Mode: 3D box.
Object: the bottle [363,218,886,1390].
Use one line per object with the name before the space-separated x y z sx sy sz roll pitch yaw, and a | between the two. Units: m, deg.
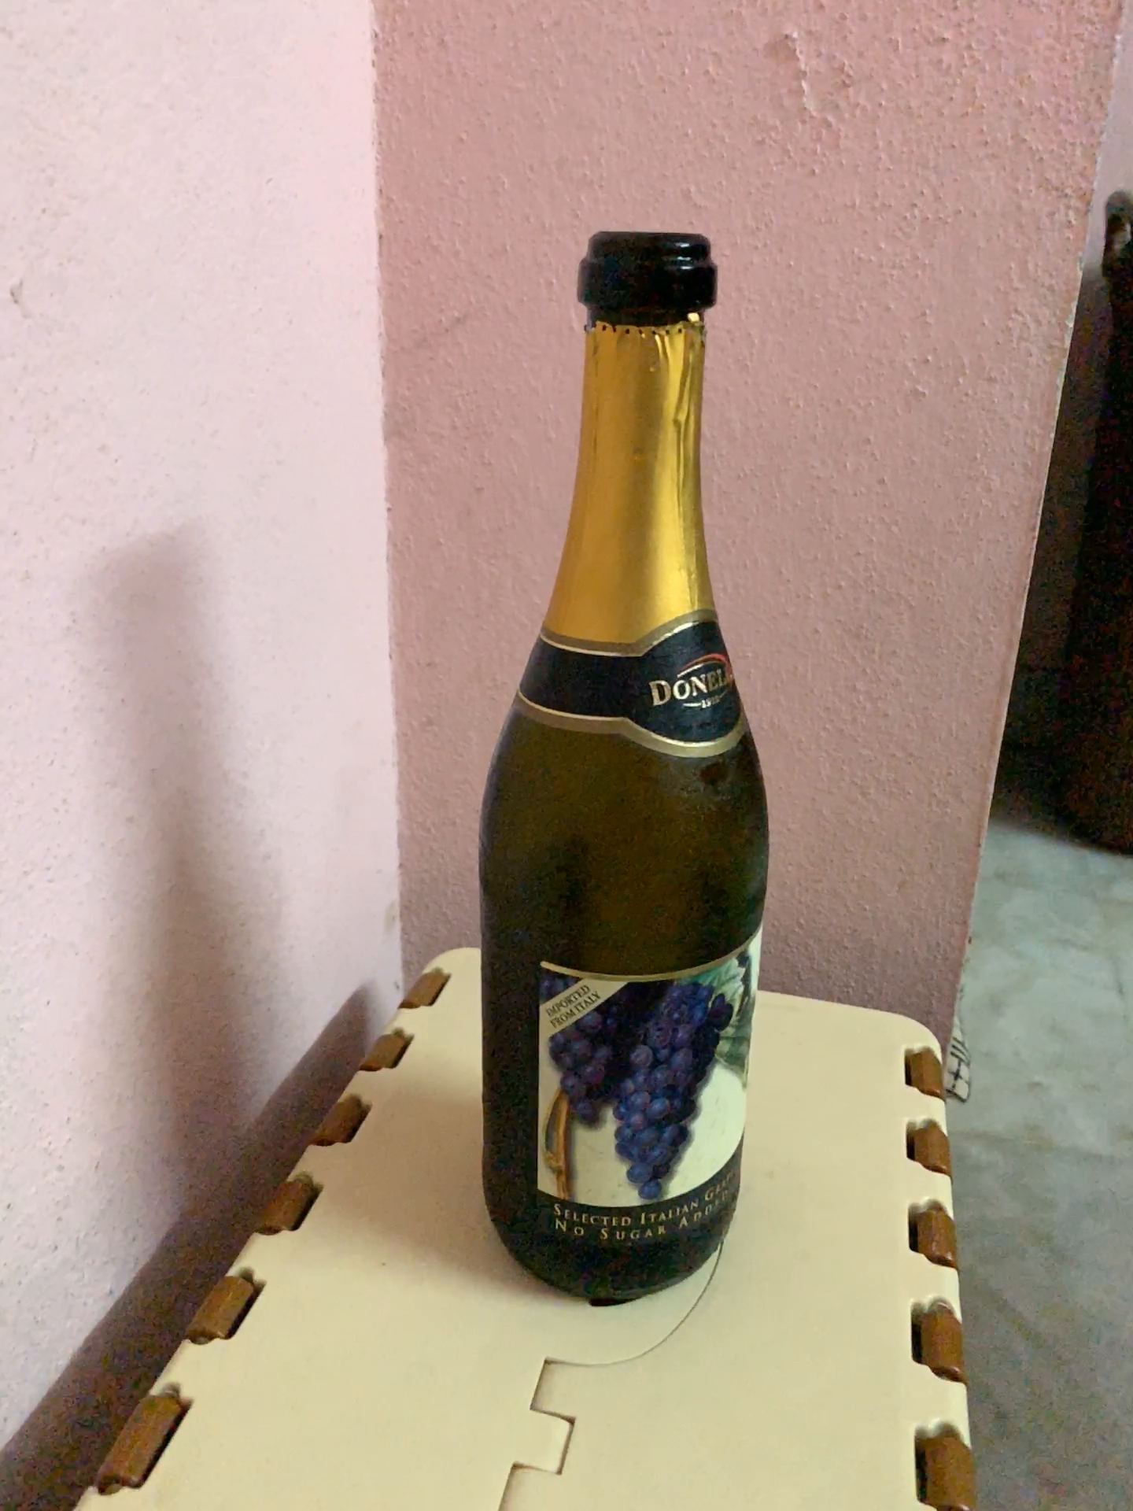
bottle | 0.011 0.015 0.304 0.090 0.279 0.070 -20 31 -41
